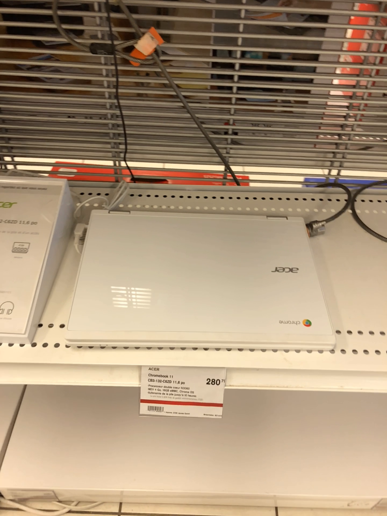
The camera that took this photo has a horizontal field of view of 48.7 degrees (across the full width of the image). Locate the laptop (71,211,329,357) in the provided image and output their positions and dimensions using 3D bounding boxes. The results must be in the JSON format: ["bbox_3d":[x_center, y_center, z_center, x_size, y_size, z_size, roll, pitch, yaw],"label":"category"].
[{"bbox_3d":[0.006,0.025,0.534,0.286,0.024,0.184,2,54,-1],"label":"laptop"}]
